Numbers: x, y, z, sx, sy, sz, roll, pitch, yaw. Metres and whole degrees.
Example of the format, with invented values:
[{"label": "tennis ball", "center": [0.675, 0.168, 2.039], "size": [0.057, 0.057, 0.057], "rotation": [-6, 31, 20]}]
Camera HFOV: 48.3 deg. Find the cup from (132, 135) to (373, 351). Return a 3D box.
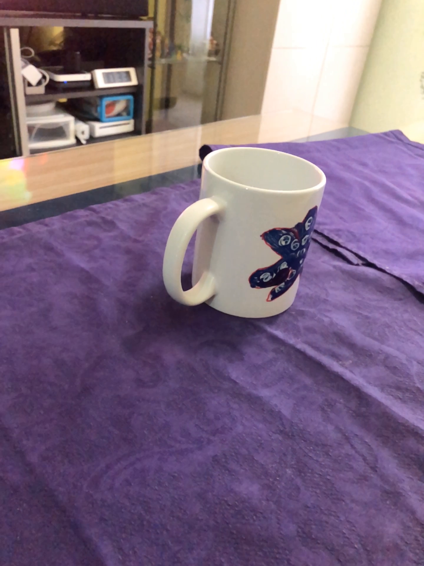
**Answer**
[{"label": "cup", "center": [0.025, -0.036, 0.317], "size": [0.130, 0.090, 0.080], "rotation": [-21, 43, -37]}]
